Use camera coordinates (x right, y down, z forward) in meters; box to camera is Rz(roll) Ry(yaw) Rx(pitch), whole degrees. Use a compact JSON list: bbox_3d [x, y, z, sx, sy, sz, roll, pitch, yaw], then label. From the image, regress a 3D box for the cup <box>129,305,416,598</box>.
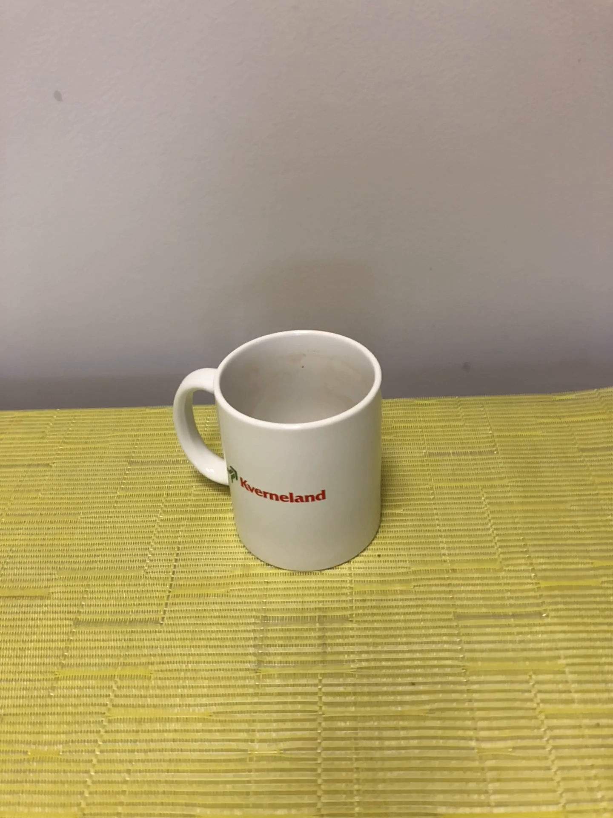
[{"bbox_3d":[-0.011,0.018,0.361,0.114,0.100,0.090,12,38,19],"label":"cup"}]
